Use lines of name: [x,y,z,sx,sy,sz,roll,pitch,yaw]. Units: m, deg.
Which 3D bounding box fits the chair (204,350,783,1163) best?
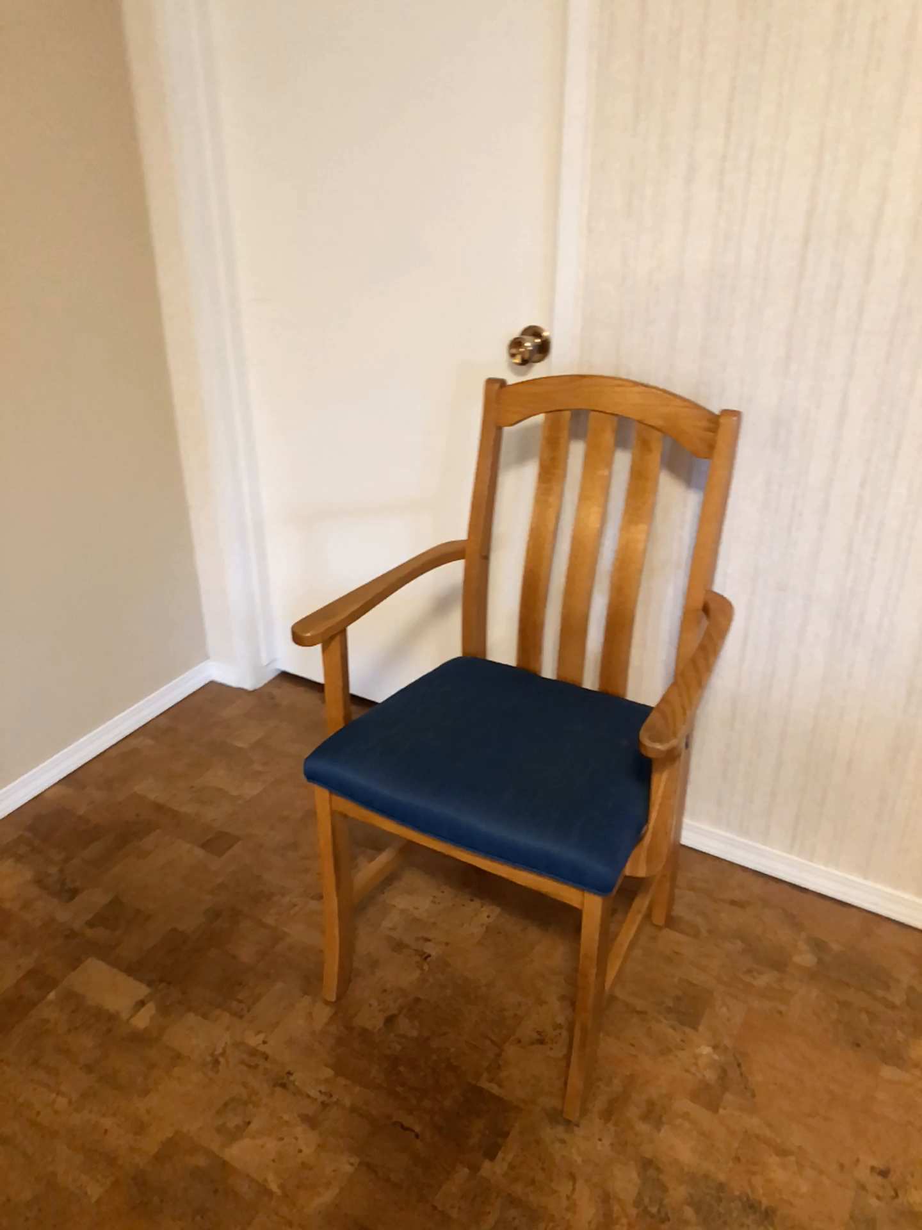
chair: [0.075,0.163,1.532,0.551,0.937,0.592,14,31,24]
